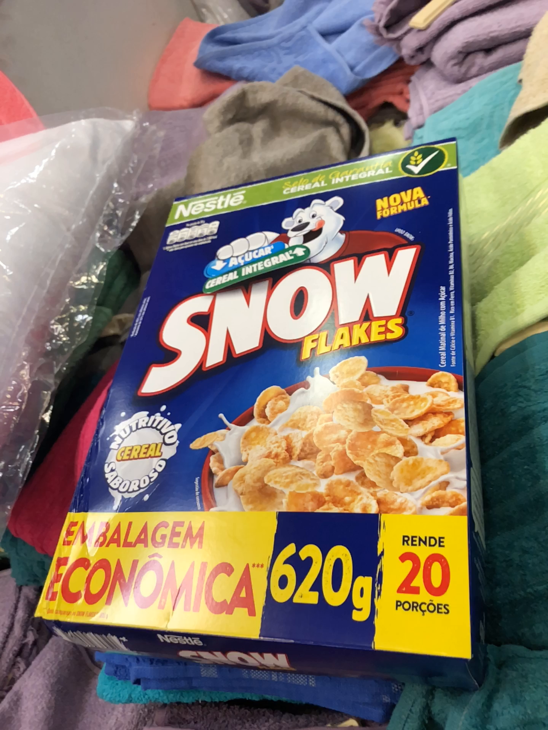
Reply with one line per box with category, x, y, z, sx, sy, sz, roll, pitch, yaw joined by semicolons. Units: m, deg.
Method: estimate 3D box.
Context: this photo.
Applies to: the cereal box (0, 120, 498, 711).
cereal box;0.001;0.007;0.348;0.220;0.070;0.302;-6;52;24
